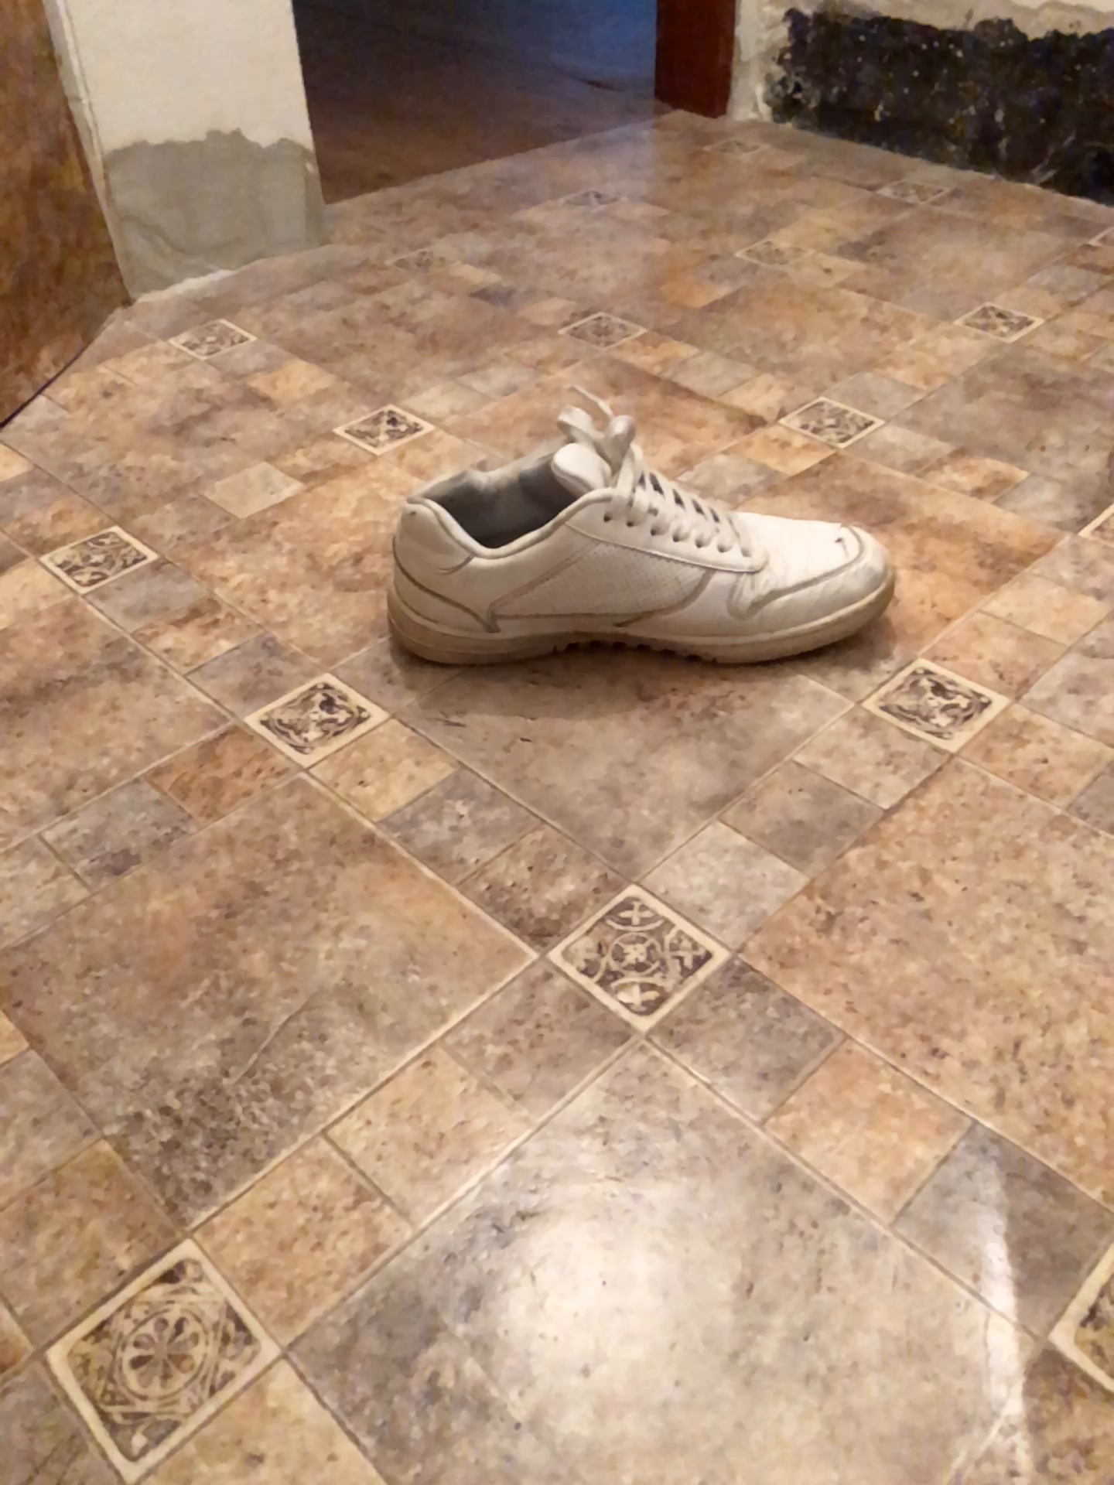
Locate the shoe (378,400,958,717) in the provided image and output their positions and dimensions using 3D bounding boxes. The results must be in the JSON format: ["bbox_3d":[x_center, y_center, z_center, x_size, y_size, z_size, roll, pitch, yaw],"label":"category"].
[{"bbox_3d":[0.054,-0.103,0.672,0.280,0.109,0.123,-3,40,0],"label":"shoe"}]
